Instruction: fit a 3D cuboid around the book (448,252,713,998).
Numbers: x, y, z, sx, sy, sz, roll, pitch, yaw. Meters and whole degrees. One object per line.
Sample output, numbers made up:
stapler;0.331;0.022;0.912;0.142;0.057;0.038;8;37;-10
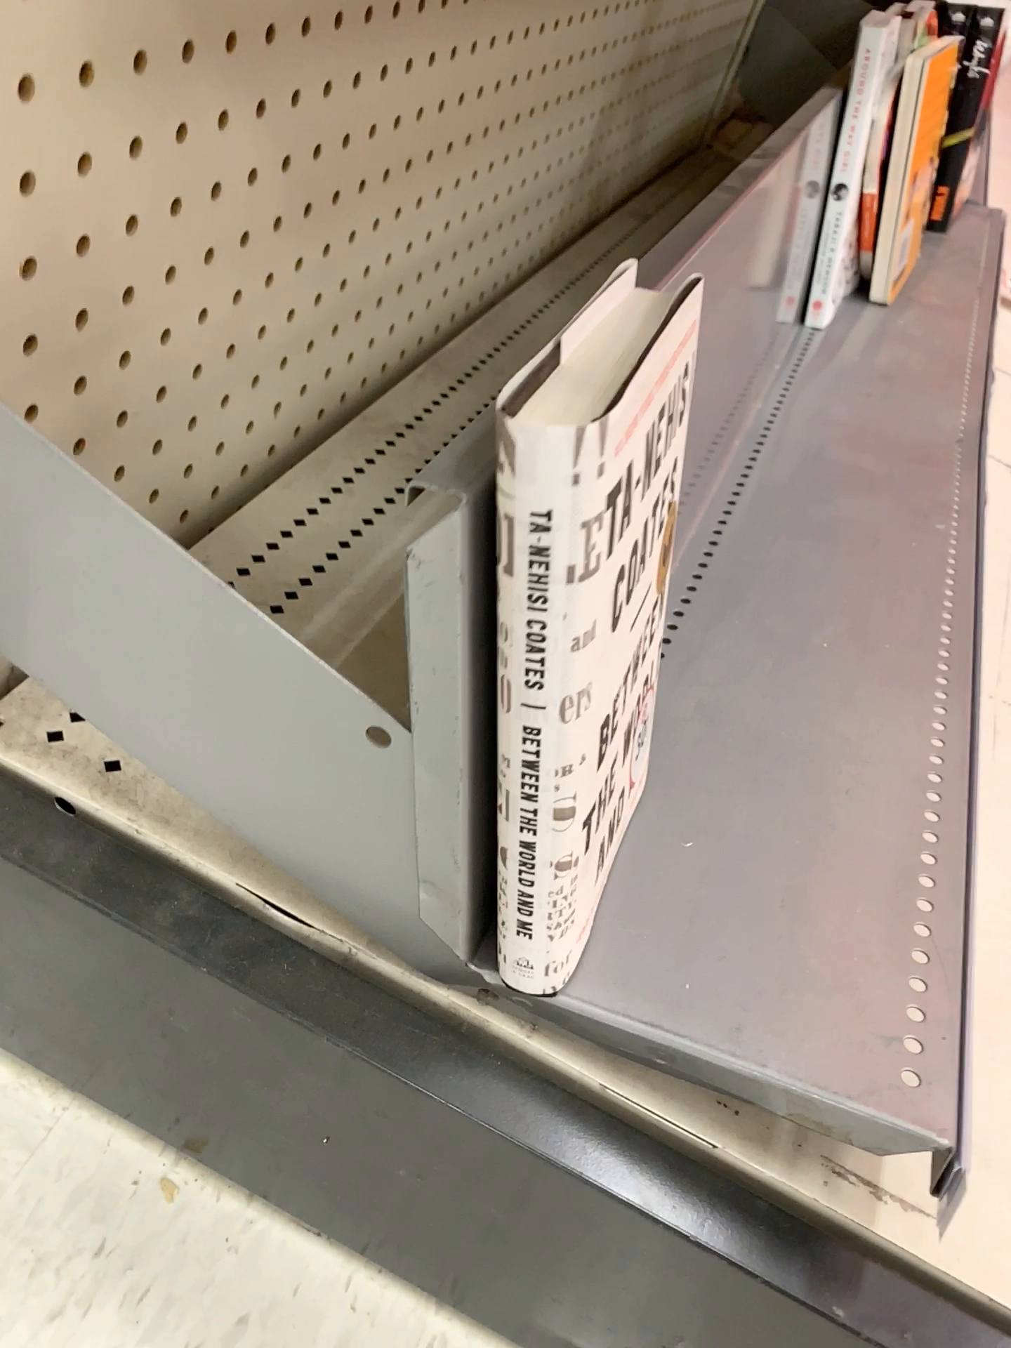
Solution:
book;0.028;-0.014;0.320;0.030;0.186;0.130;11;39;17
